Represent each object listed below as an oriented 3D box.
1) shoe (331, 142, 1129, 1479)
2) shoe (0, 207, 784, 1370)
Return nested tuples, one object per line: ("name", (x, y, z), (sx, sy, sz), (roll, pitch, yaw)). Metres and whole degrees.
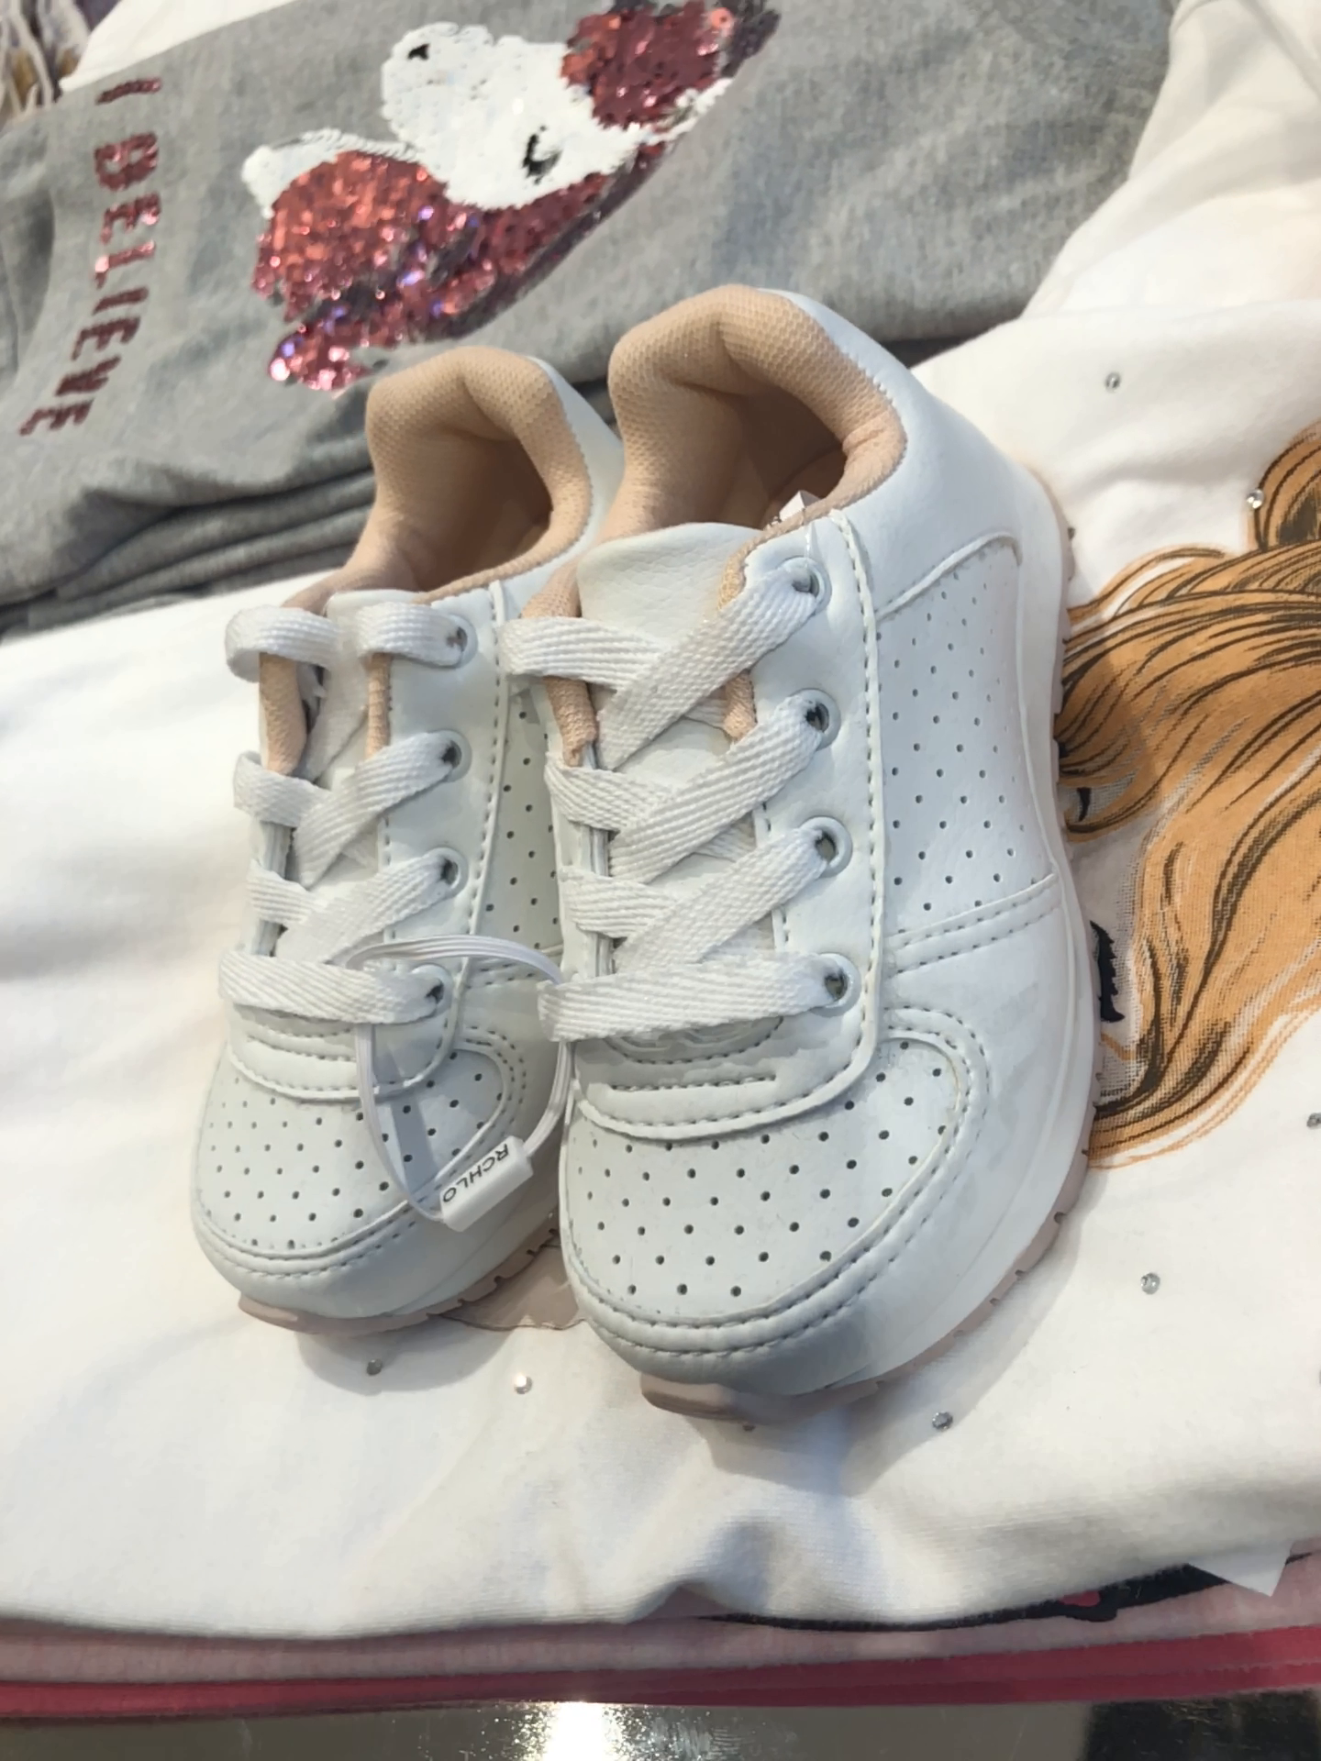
("shoe", (0.019, -0.009, 0.204), (0.080, 0.060, 0.160), (-2, 68, 22))
("shoe", (-0.045, -0.017, 0.235), (0.080, 0.060, 0.160), (7, 71, 26))
